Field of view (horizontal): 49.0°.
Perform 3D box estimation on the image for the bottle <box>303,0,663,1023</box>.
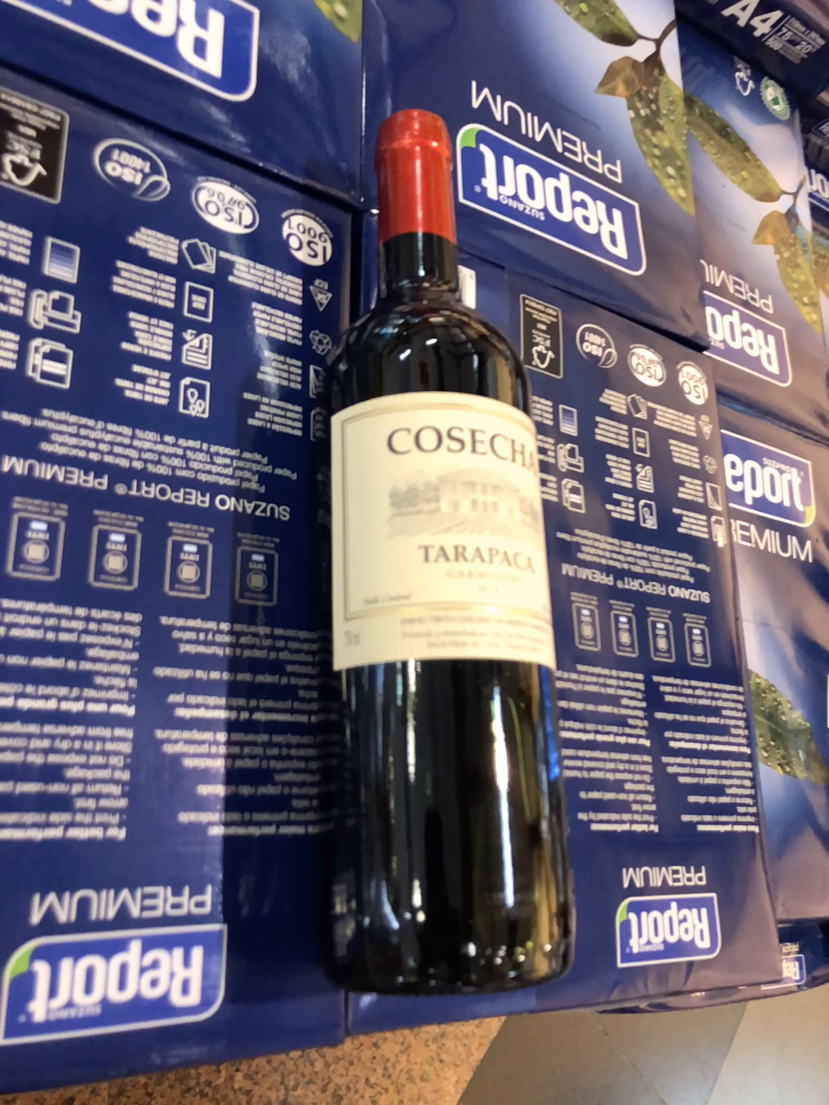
[{"bbox_3d":[0.013,-0.035,0.305,0.080,0.060,0.330,10,69,-33],"label":"bottle"}]
